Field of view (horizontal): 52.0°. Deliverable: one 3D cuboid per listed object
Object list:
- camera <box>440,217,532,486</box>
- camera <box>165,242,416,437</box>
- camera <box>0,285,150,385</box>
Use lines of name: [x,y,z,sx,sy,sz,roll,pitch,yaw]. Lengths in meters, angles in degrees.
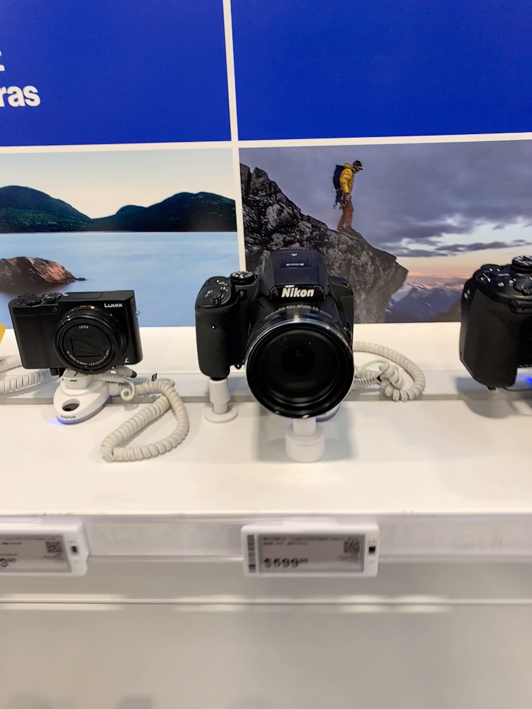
camera: [0.245,-0.021,0.401,0.160,0.109,0.221,-2,25,1]
camera: [0.019,-0.020,0.436,0.160,0.099,0.151,-2,25,2]
camera: [-0.166,-0.018,0.479,0.110,0.070,0.050,-2,24,2]
